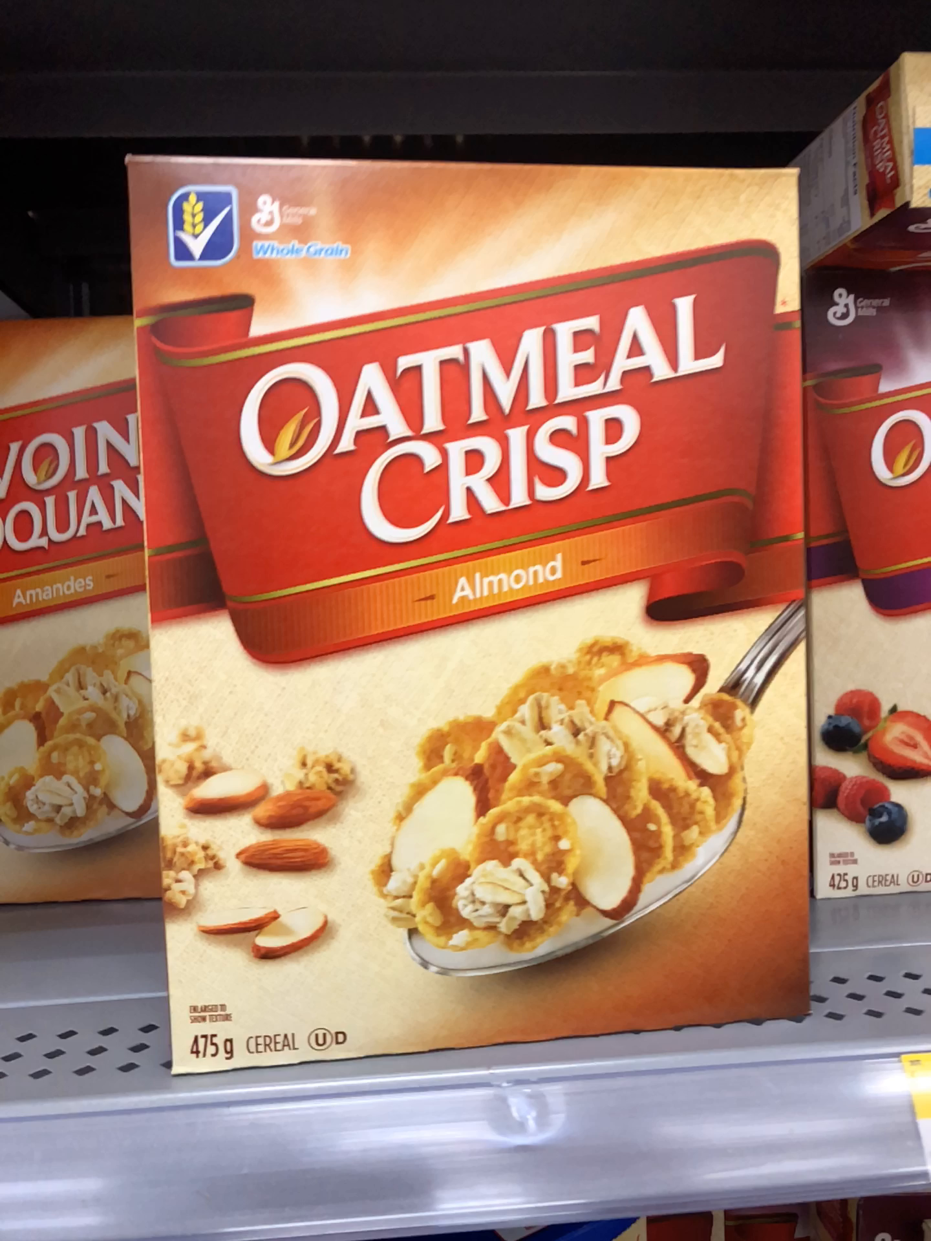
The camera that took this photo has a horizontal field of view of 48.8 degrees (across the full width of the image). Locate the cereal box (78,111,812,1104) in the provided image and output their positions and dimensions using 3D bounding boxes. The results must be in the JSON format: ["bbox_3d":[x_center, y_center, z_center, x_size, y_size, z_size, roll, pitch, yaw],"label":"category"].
[{"bbox_3d":[-0.002,-0.006,0.328,0.210,0.280,0.050,-2,2,-8],"label":"cereal box"}]
